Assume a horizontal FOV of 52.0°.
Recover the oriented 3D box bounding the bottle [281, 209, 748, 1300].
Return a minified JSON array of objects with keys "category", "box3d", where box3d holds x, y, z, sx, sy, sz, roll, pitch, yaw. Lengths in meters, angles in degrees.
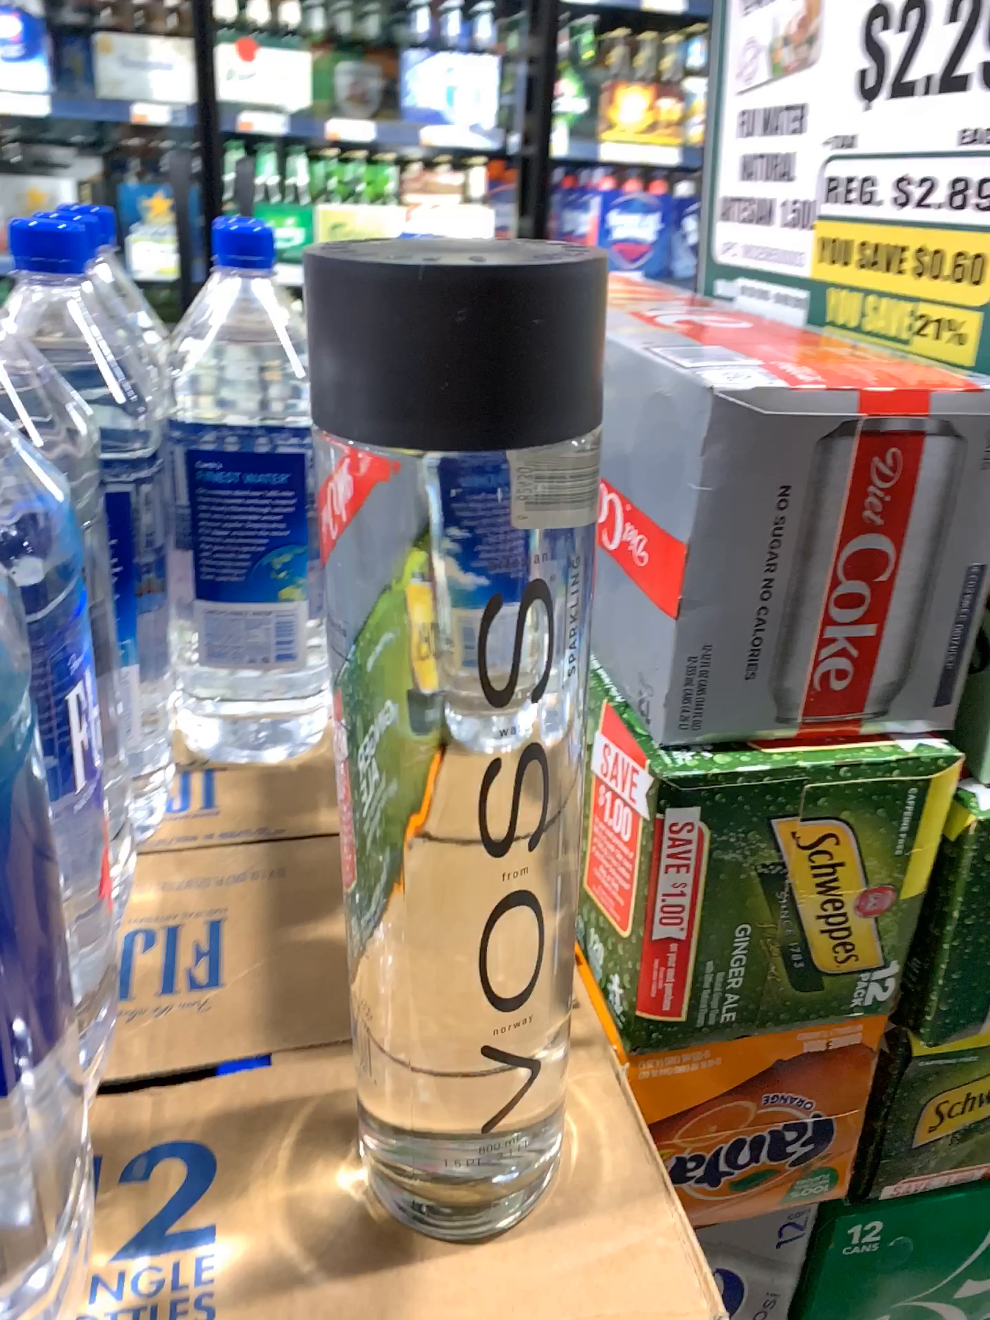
[{"category":"bottle","box3d":[-0.007,0.036,0.281,0.080,0.288,0.080,2,25,-1]}]
